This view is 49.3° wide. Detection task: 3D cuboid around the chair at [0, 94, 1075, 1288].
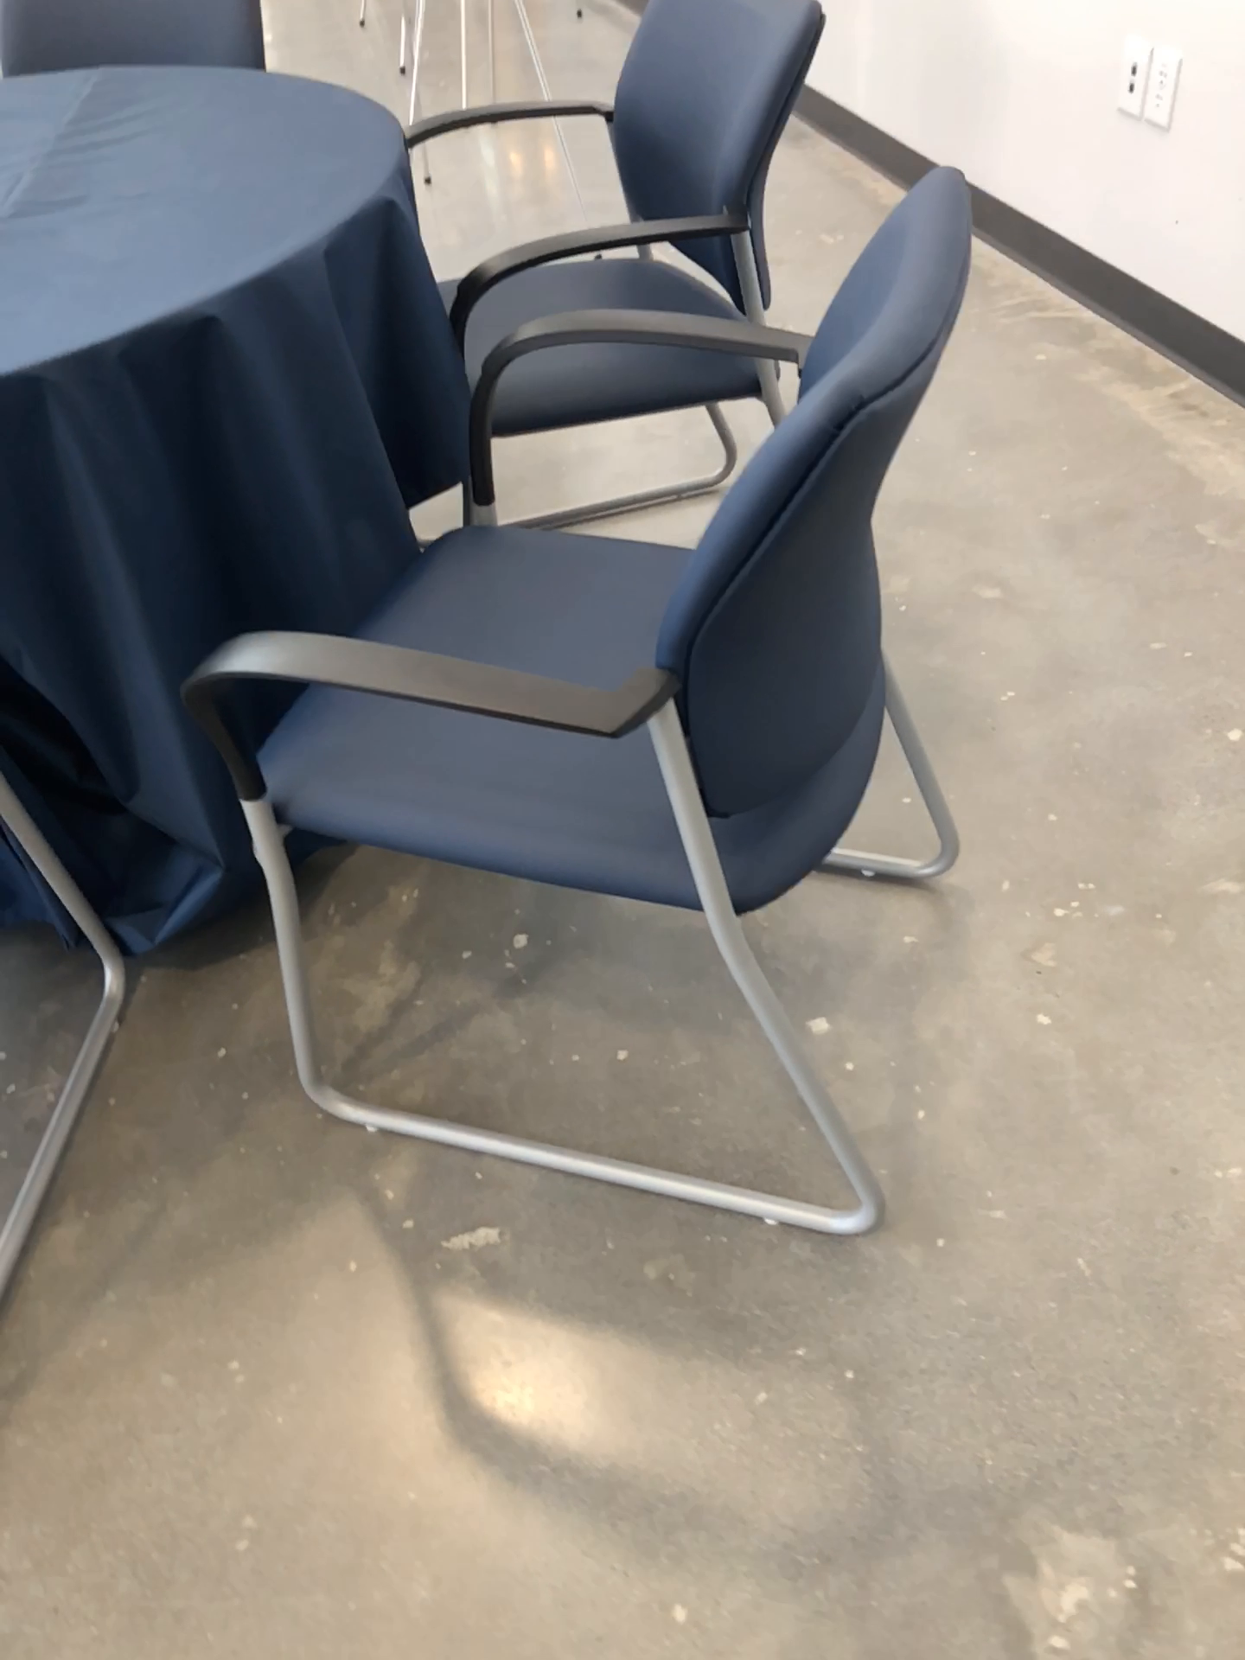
[{"bbox_3d":[-0.015,-0.149,1.228,0.671,0.765,0.644,9,44,16],"label":"chair"}]
